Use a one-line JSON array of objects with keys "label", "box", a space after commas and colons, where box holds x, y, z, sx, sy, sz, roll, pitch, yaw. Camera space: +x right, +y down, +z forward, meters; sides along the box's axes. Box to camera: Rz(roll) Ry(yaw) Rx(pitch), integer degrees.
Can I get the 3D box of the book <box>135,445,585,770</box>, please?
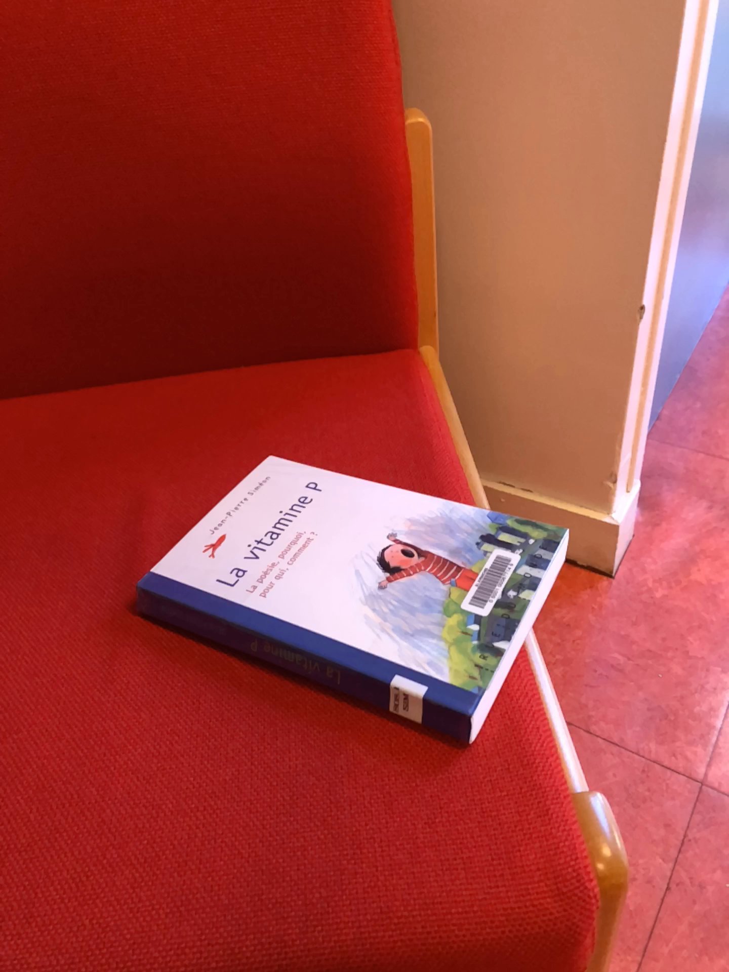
[{"label": "book", "box": [-0.001, 0.054, 0.471, 0.215, 0.027, 0.148, 17, 45, 24]}]
